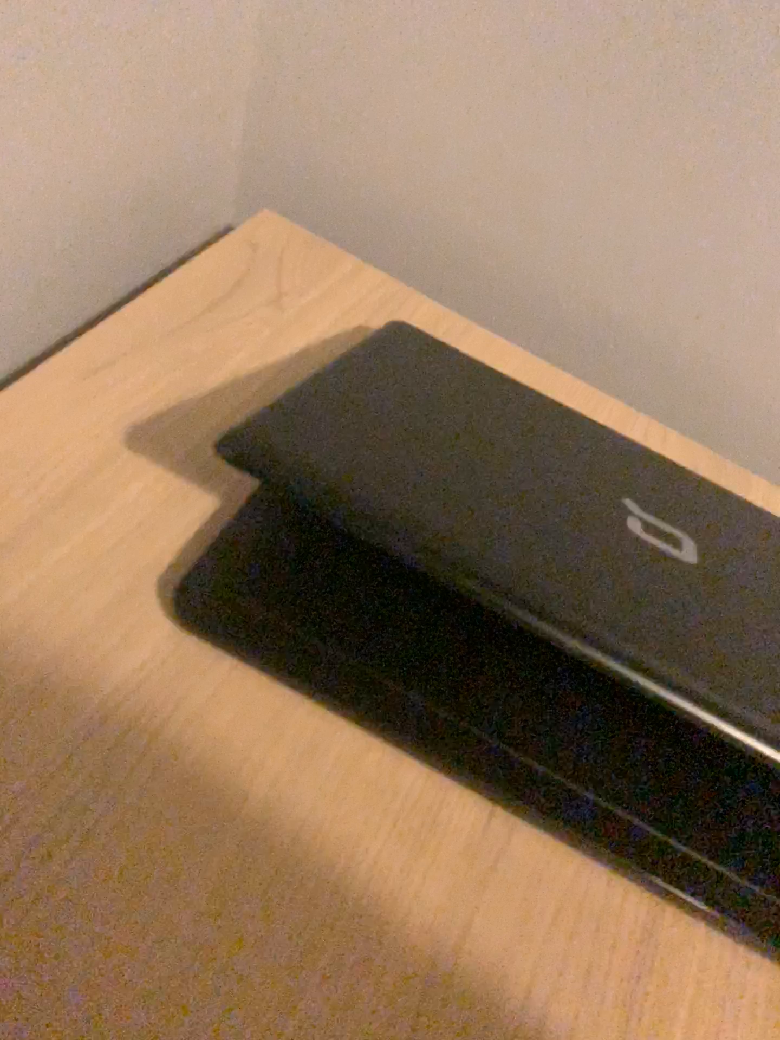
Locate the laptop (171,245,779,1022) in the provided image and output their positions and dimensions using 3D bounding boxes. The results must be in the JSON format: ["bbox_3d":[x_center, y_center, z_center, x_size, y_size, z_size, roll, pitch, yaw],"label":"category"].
[{"bbox_3d":[0.121,0.028,0.389,0.373,0.064,0.225,28,52,4],"label":"laptop"}]
